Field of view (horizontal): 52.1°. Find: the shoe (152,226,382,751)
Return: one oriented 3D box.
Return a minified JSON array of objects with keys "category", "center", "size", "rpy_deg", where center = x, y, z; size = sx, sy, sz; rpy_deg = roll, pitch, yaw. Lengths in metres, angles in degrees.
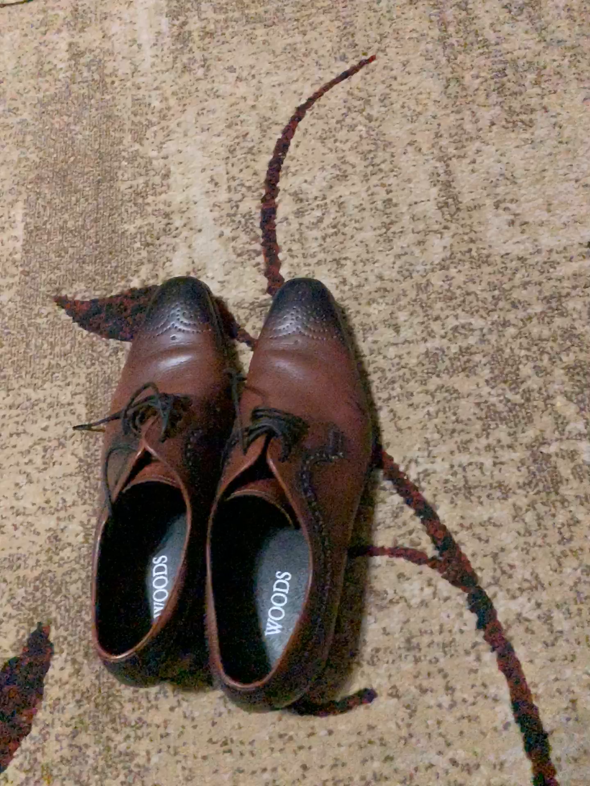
[{"category":"shoe","center":[0.001,0.049,0.384],"size":[0.100,0.115,0.287],"rpy_deg":[0,67,10]}]

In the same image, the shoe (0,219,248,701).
[{"category":"shoe","center":[-0.097,0.041,0.405],"size":[0.100,0.115,0.287],"rpy_deg":[-4,66,8]}]
